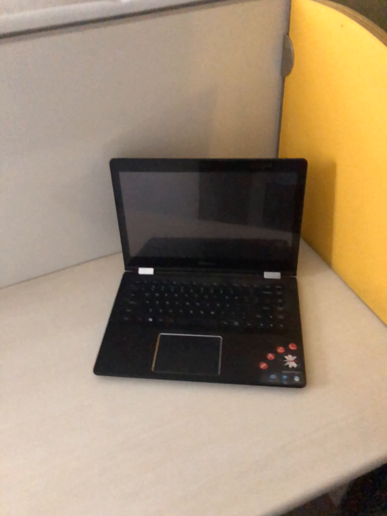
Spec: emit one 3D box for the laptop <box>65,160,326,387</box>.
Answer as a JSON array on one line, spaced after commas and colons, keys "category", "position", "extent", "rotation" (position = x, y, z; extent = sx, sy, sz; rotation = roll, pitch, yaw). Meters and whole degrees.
[{"category": "laptop", "position": [0.015, 0.014, 0.675], "extent": [0.311, 0.225, 0.265], "rotation": [2, 43, 7]}]
